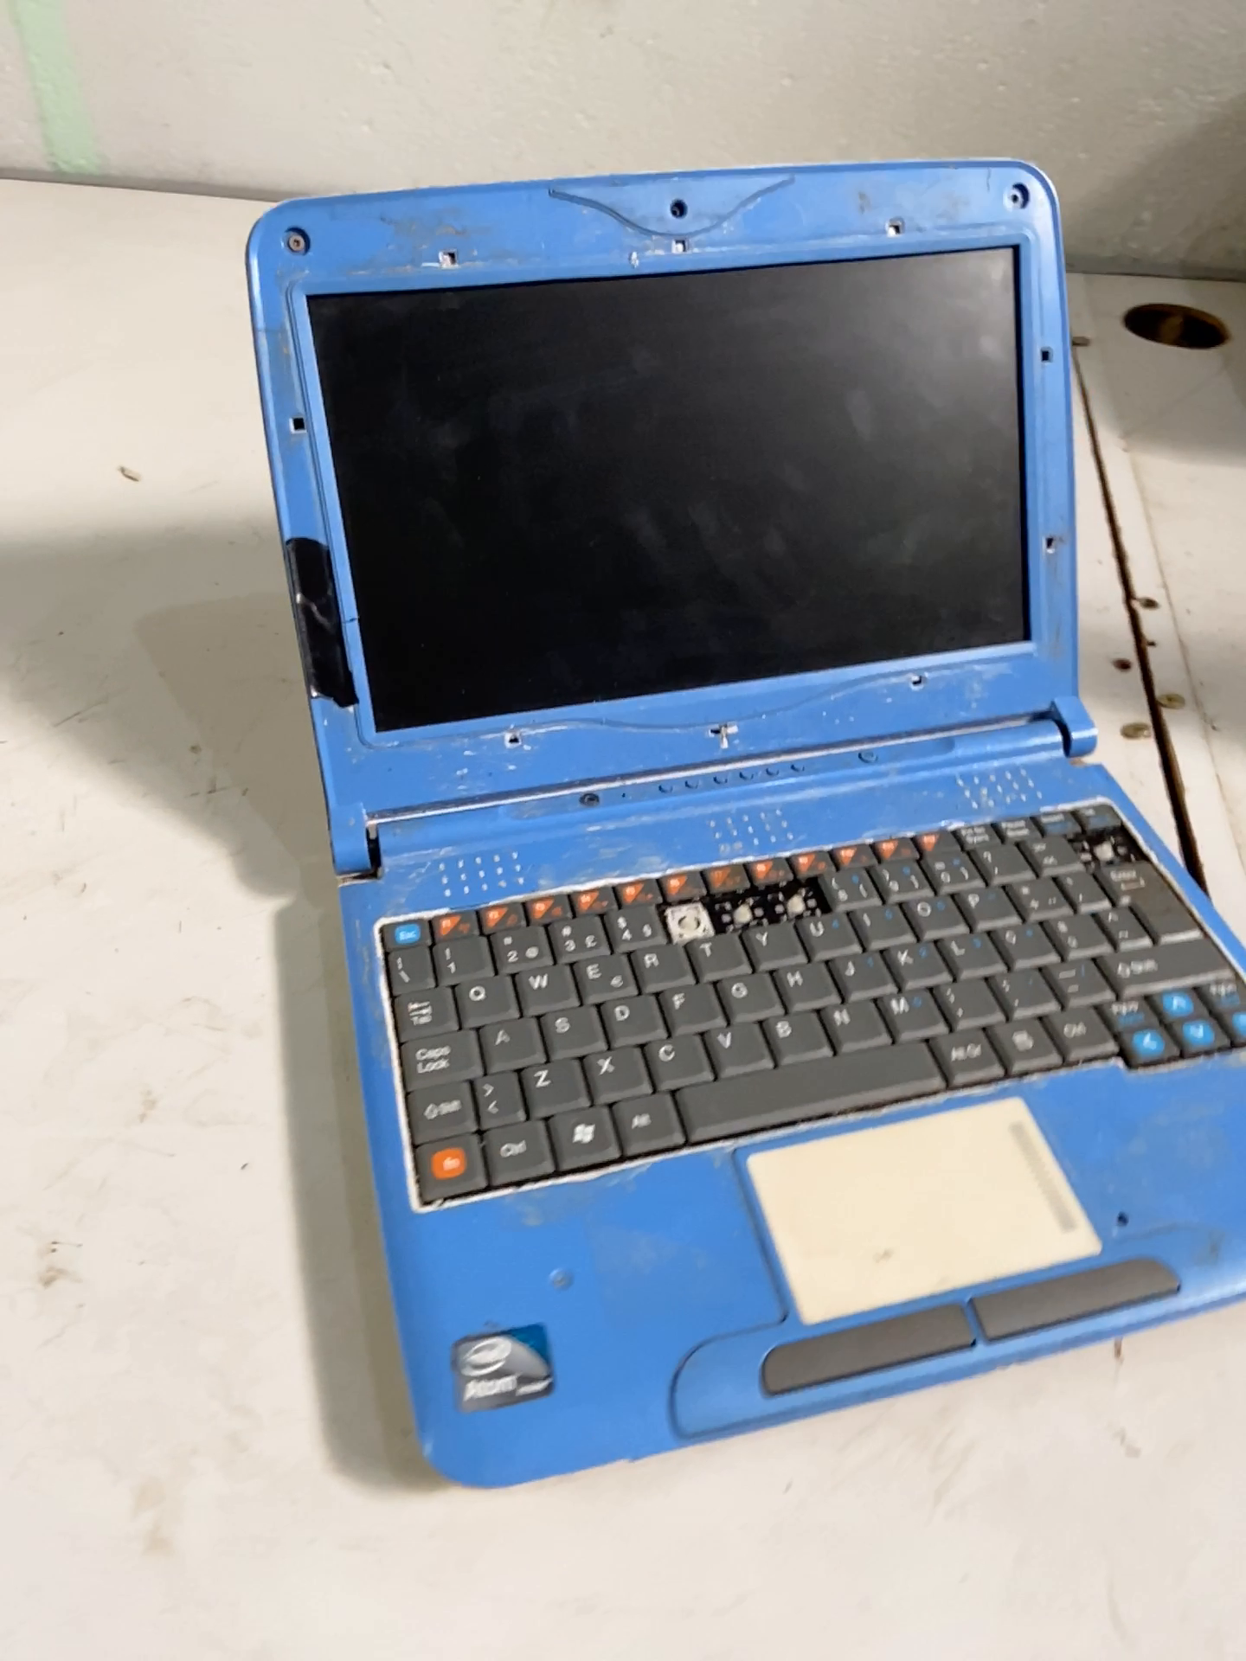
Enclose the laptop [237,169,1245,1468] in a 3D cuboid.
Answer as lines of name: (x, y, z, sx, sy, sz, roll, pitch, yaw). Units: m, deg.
laptop: (0.046, -0.037, 0.336, 0.241, 0.149, 0.288, -9, 47, -12)
